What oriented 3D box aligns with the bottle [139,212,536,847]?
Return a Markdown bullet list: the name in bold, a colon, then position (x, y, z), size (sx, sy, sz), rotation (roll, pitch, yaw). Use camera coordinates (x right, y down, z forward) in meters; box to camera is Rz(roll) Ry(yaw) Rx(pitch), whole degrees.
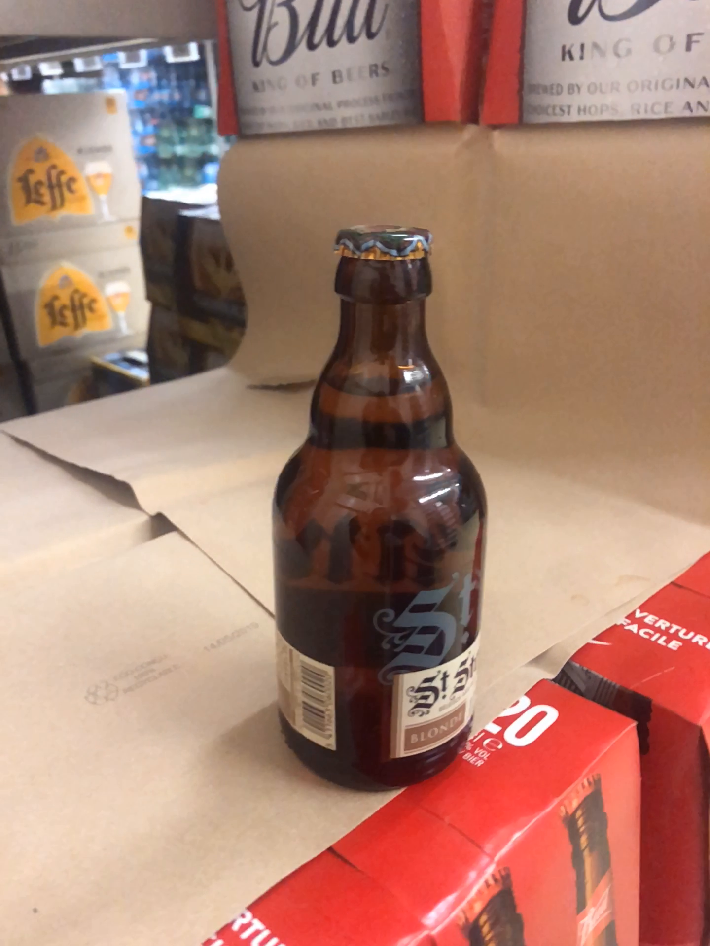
- **bottle**: position (0.003, 0.012, 0.248), size (0.080, 0.169, 0.080), rotation (-2, 24, 1)
